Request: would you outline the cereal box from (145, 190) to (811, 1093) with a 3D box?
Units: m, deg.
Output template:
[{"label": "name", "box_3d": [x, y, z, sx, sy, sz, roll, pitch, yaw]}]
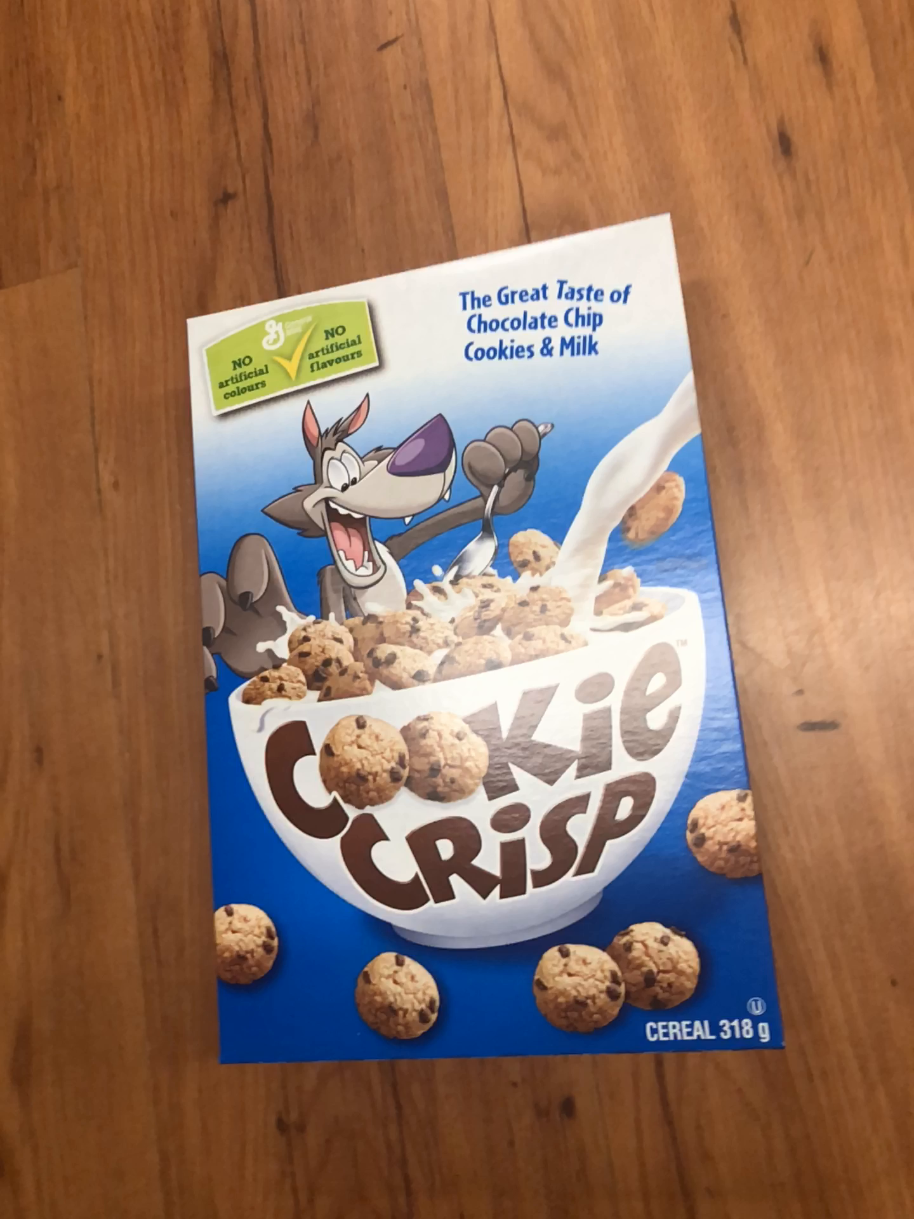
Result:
[{"label": "cereal box", "box_3d": [0.000, 0.015, 0.367, 0.200, 0.060, 0.280, -8, 81, 13]}]
